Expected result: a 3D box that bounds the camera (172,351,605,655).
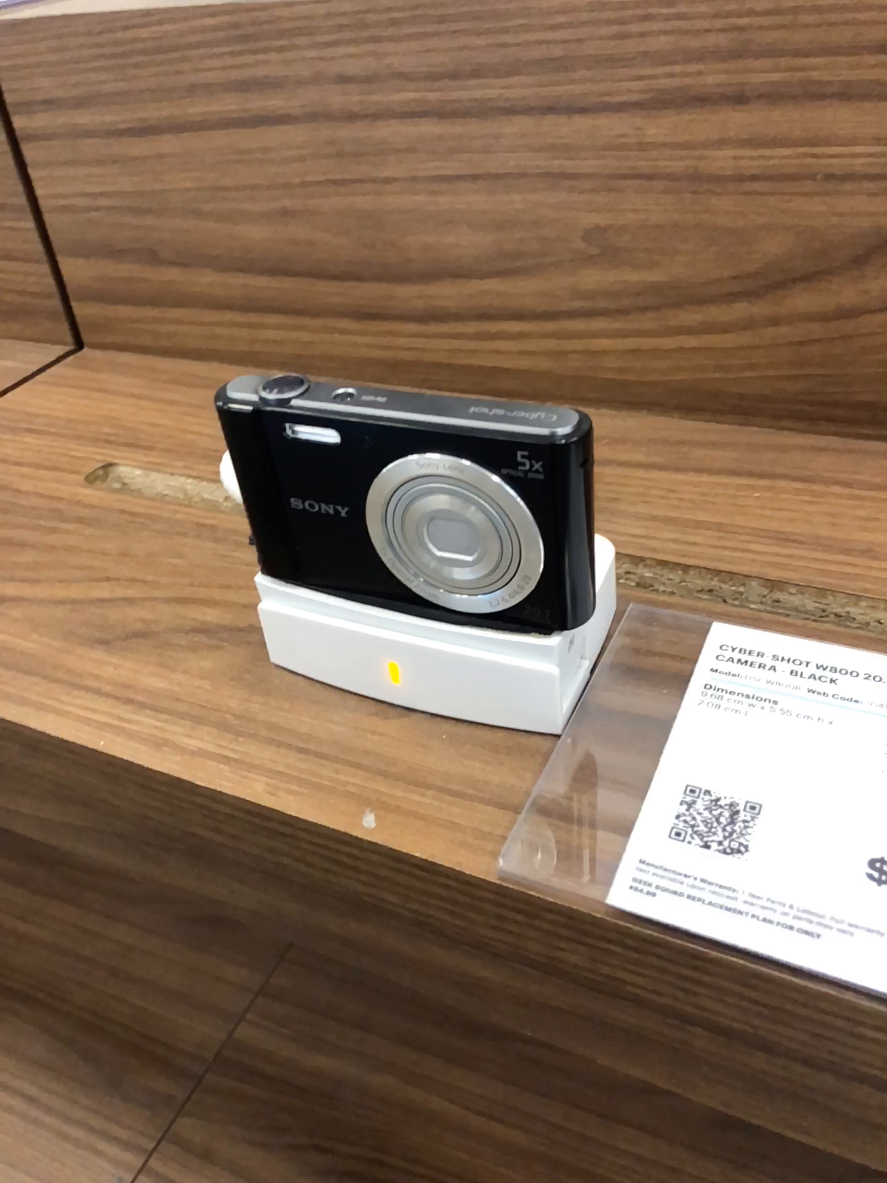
[{"bbox_3d":[-0.012,-0.023,0.244,0.100,0.060,0.020,12,45,24],"label":"camera"}]
